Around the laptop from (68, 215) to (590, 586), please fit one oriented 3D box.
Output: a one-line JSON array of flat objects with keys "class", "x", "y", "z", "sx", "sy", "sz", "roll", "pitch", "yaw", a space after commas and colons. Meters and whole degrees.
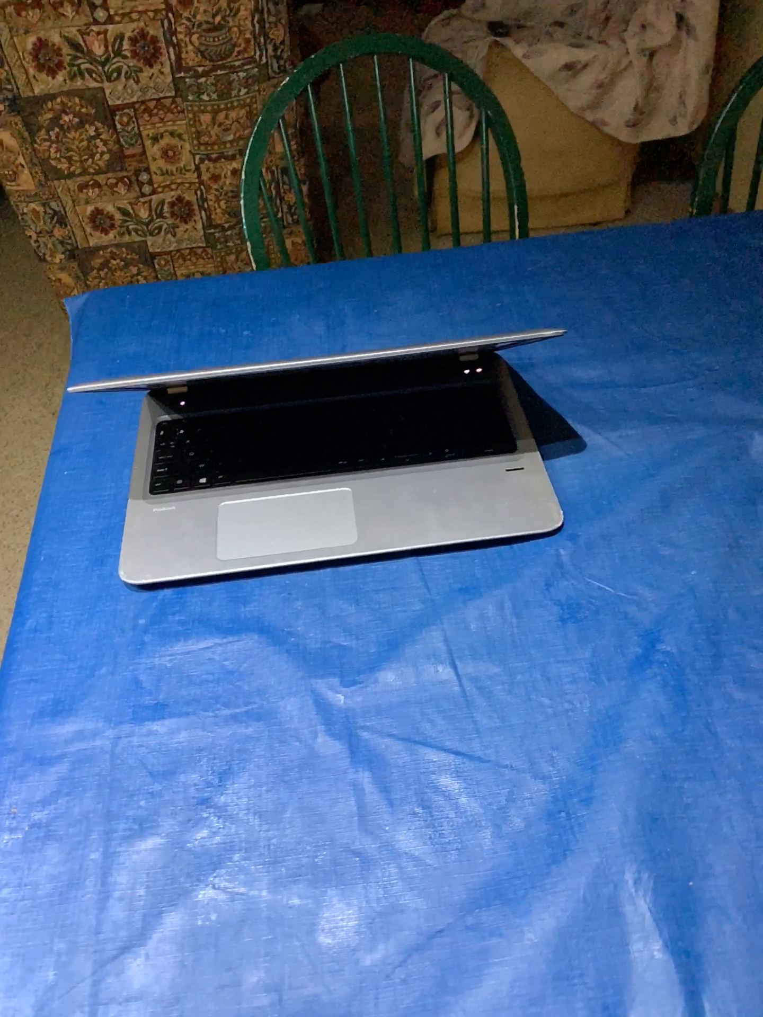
[{"class": "laptop", "x": -0.046, "y": -0.103, "z": 0.683, "sx": 0.365, "sy": 0.156, "sz": 0.255, "roll": -7, "pitch": 47, "yaw": -2}]
